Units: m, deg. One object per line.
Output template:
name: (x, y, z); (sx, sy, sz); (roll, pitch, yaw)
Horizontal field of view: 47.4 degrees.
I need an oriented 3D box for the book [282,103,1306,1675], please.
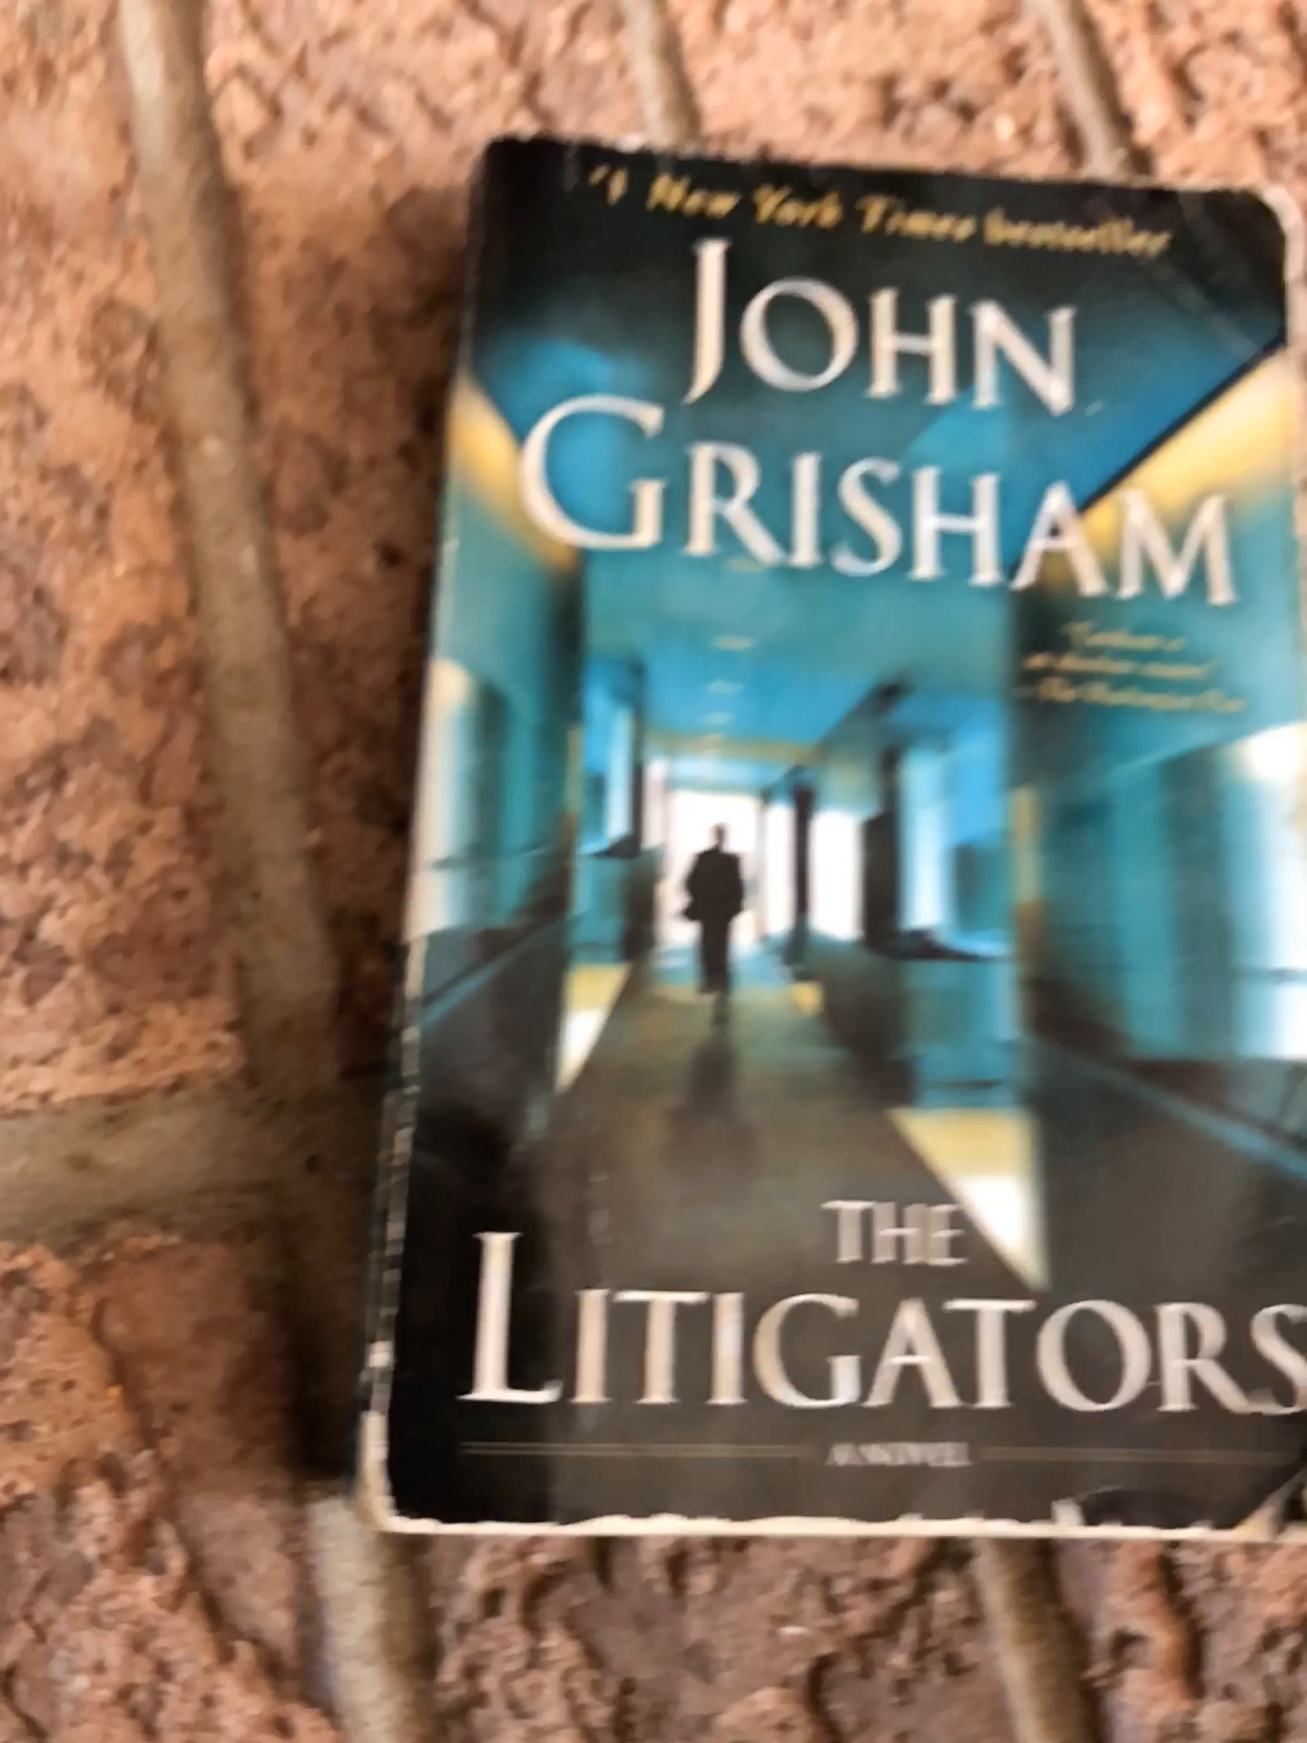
book: (0.031, -0.004, 0.208); (0.135, 0.033, 0.199); (4, 75, -5)
